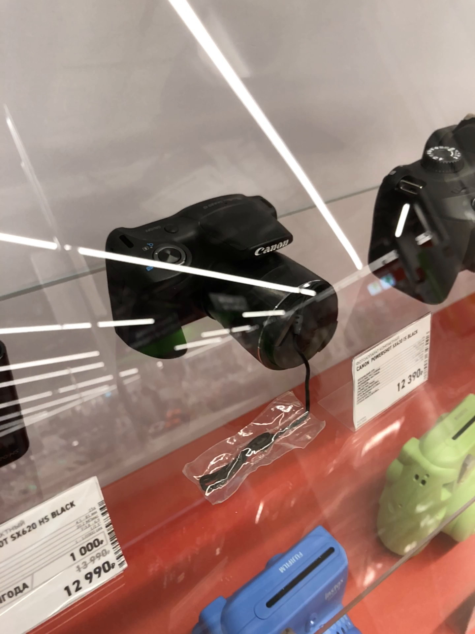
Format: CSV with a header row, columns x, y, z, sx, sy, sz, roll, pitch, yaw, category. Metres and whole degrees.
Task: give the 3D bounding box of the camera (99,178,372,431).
x,y,z,sx,sy,sz,roll,pitch,yaw,category
-0.003,-0.015,0.298,0.113,0.080,0.086,-21,44,-30,camera
